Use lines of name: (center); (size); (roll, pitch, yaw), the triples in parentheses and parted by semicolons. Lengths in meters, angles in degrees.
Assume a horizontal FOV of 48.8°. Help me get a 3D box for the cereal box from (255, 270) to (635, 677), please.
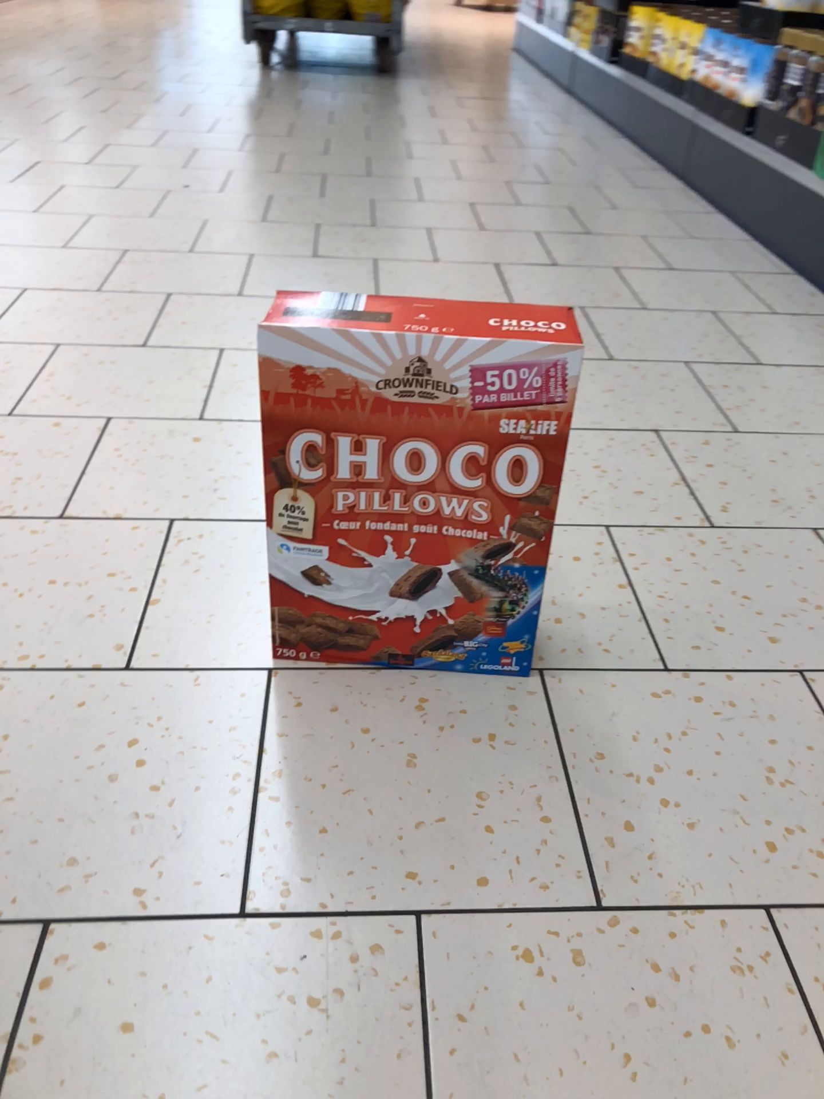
cereal box: (0.015, -0.045, 0.602); (0.210, 0.238, 0.091); (5, 33, 1)
